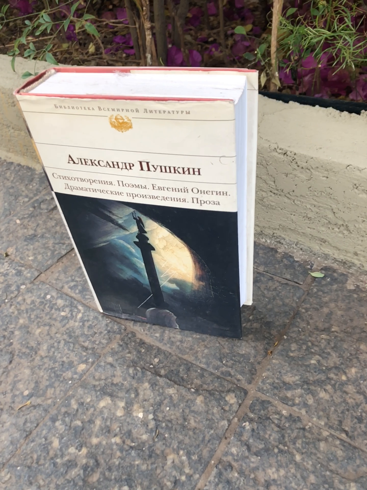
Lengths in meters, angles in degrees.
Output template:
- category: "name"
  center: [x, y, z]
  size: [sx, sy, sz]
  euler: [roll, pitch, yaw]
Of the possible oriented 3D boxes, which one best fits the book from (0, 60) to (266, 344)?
- category: "book"
  center: [-0.024, -0.021, 0.302]
  size: [0.150, 0.204, 0.050]
  euler: [8, 43, 15]
